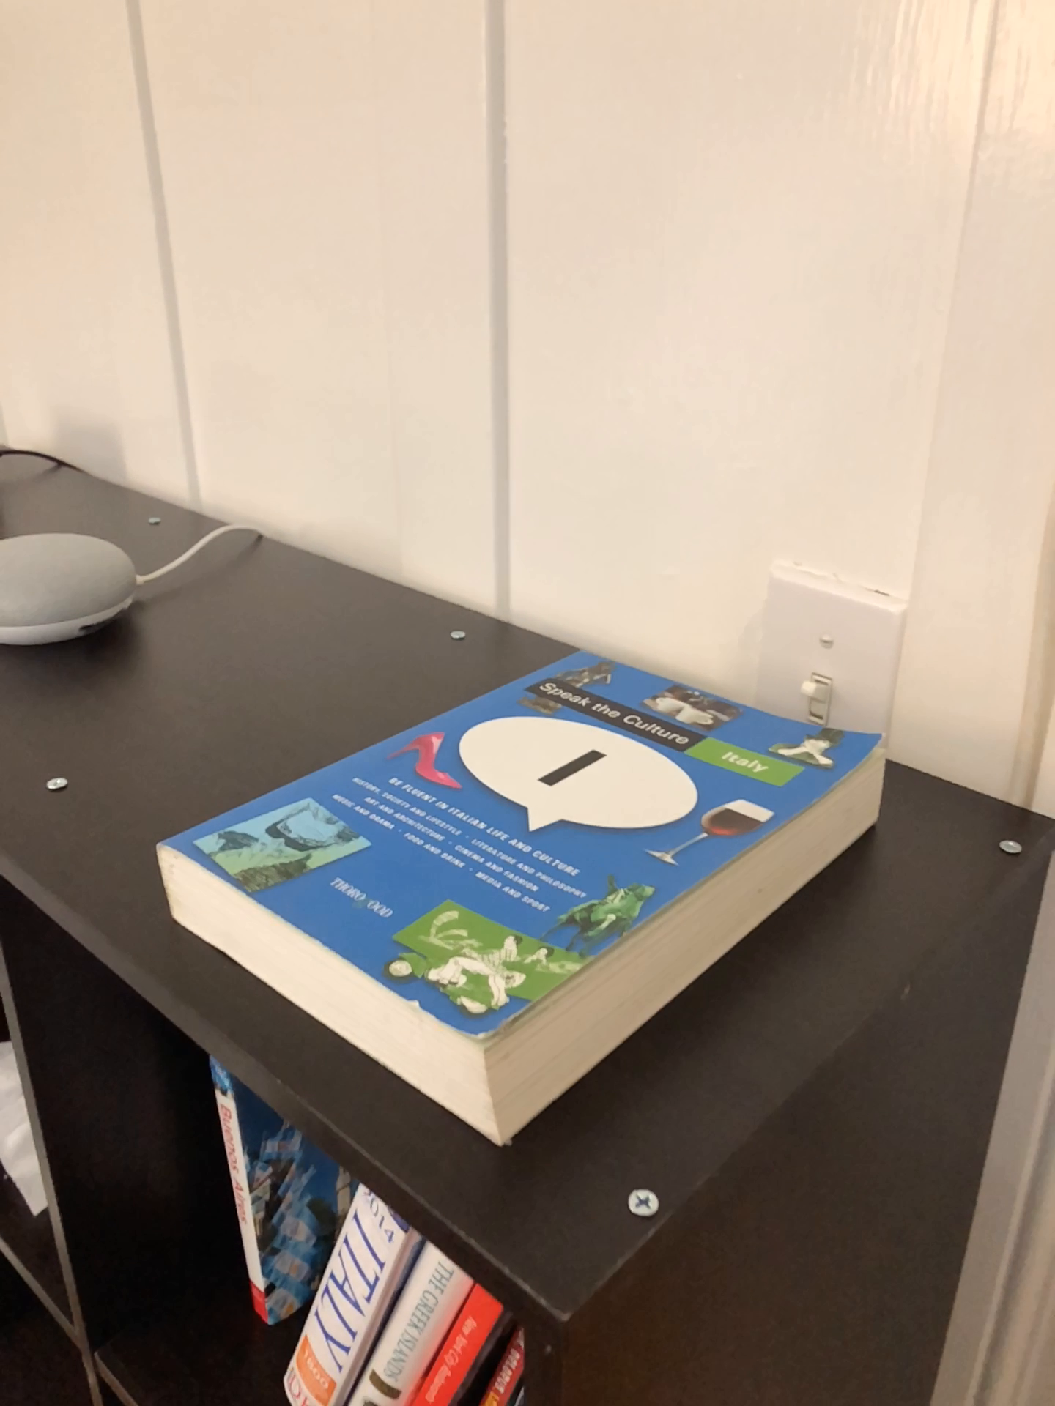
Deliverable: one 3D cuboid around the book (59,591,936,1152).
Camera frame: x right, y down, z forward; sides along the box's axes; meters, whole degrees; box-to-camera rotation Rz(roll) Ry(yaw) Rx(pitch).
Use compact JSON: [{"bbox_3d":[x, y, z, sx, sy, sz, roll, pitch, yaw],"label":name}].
[{"bbox_3d":[0.000,0.029,0.436,0.200,0.030,0.261,21,32,36],"label":"book"}]
